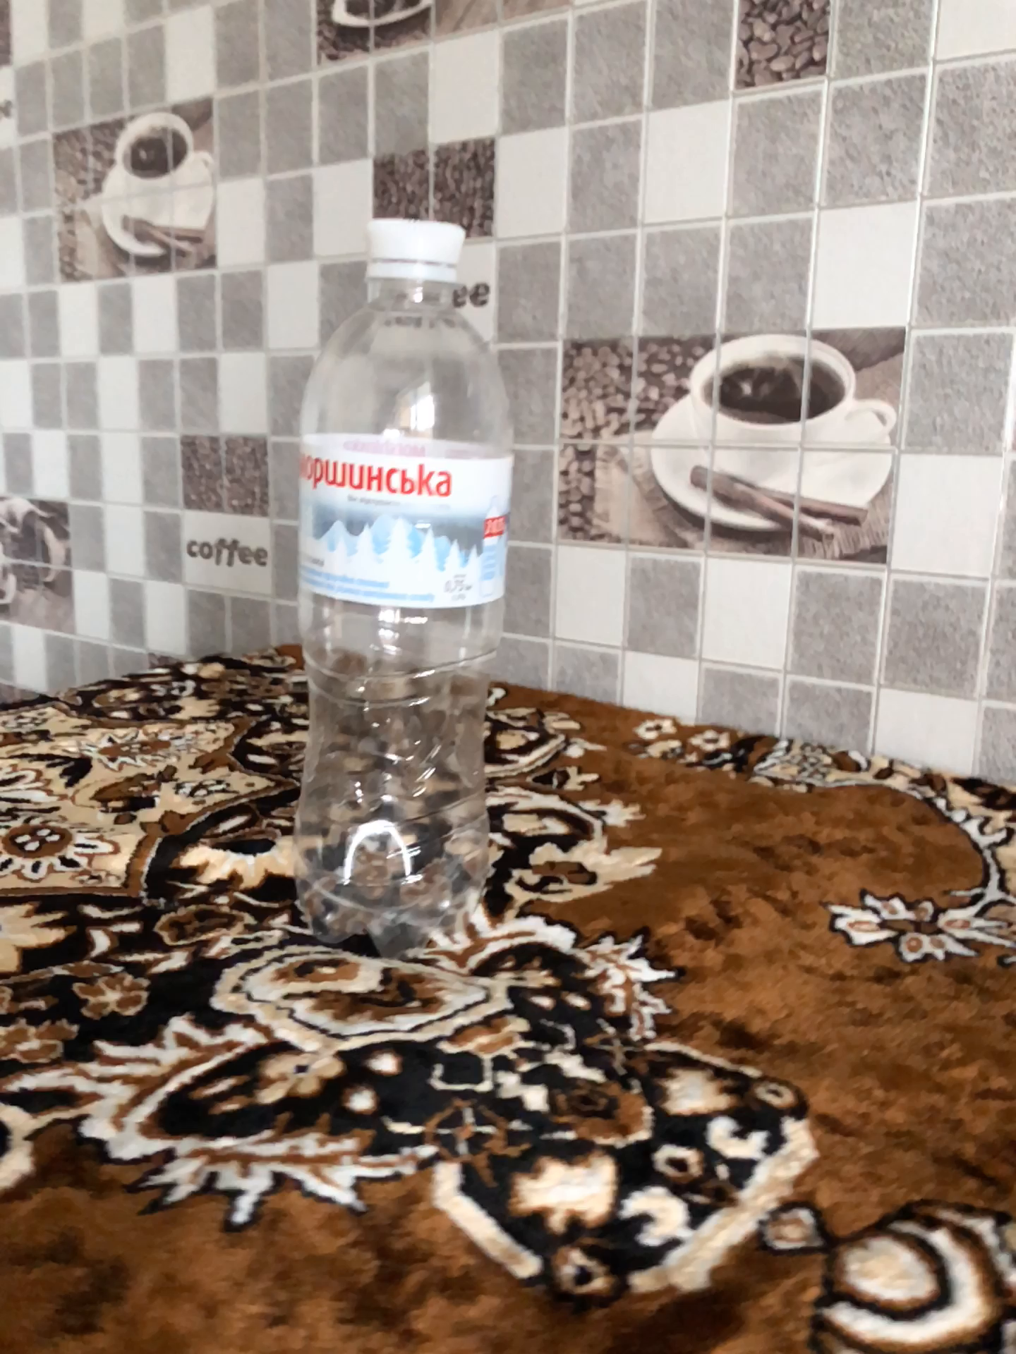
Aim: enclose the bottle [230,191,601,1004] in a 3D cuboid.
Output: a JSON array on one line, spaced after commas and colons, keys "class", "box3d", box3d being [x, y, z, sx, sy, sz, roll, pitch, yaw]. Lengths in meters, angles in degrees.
[{"class": "bottle", "box3d": [-0.035, -0.029, 0.395, 0.090, 0.249, 0.080, 12, 17, 33]}]
